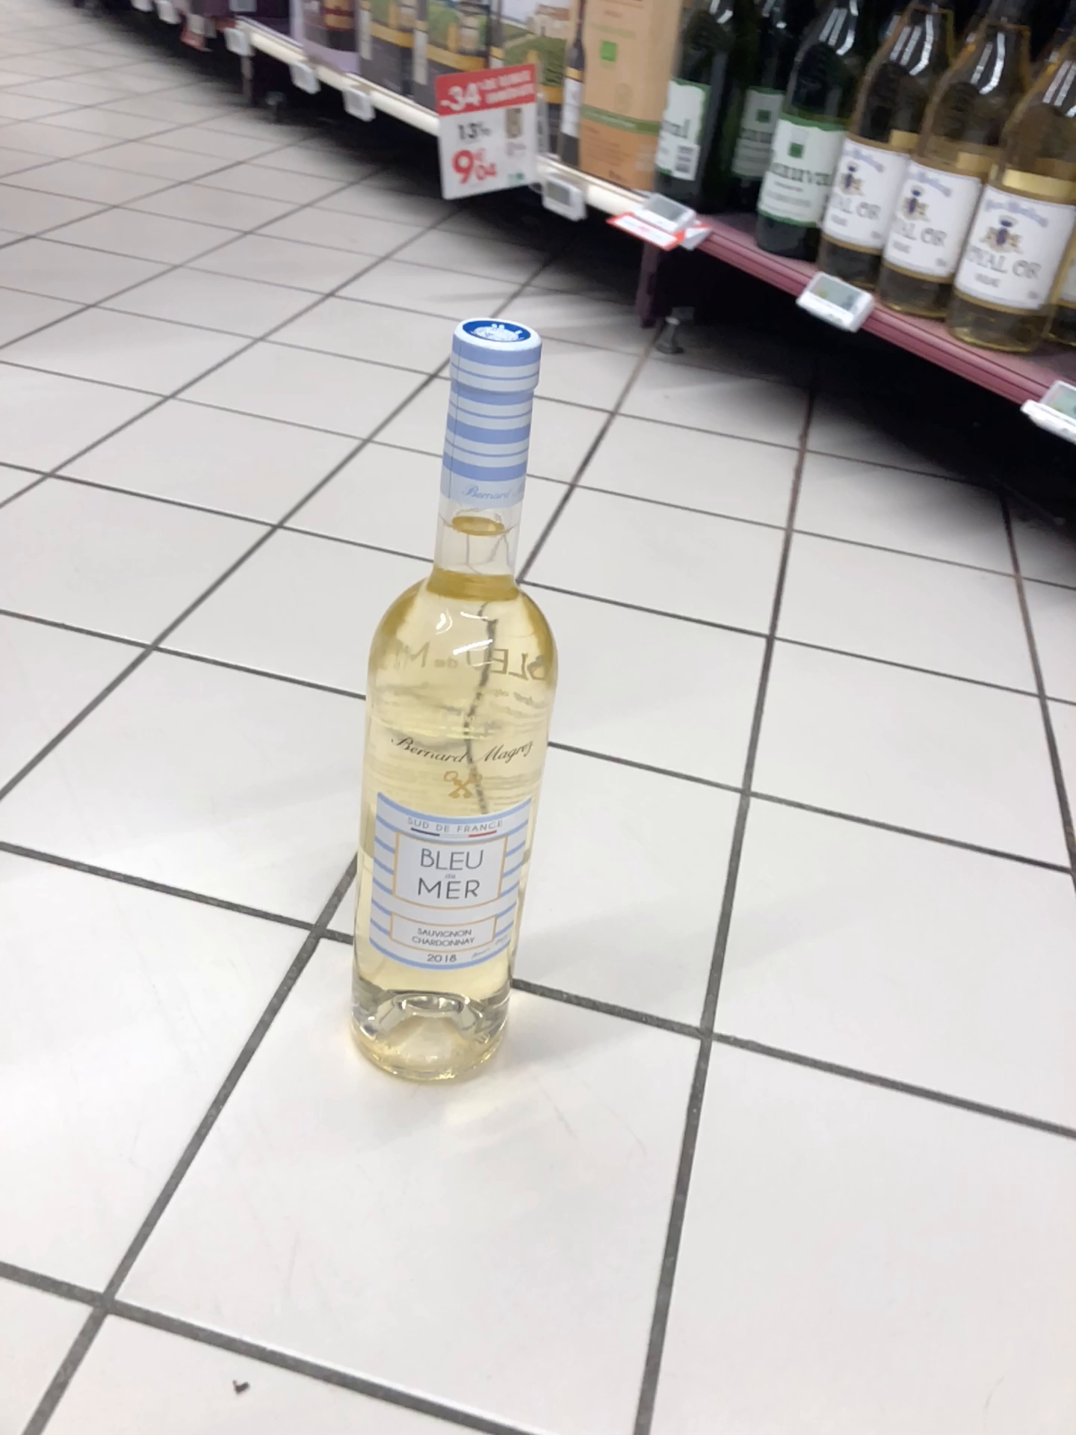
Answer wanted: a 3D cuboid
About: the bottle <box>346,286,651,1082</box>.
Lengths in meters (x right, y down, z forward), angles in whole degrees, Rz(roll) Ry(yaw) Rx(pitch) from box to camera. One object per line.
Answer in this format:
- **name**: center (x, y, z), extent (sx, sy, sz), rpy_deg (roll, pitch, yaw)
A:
- **bottle**: center (-0.027, 0.007, 0.457), extent (0.080, 0.308, 0.080), rpy_deg (5, 34, -4)
